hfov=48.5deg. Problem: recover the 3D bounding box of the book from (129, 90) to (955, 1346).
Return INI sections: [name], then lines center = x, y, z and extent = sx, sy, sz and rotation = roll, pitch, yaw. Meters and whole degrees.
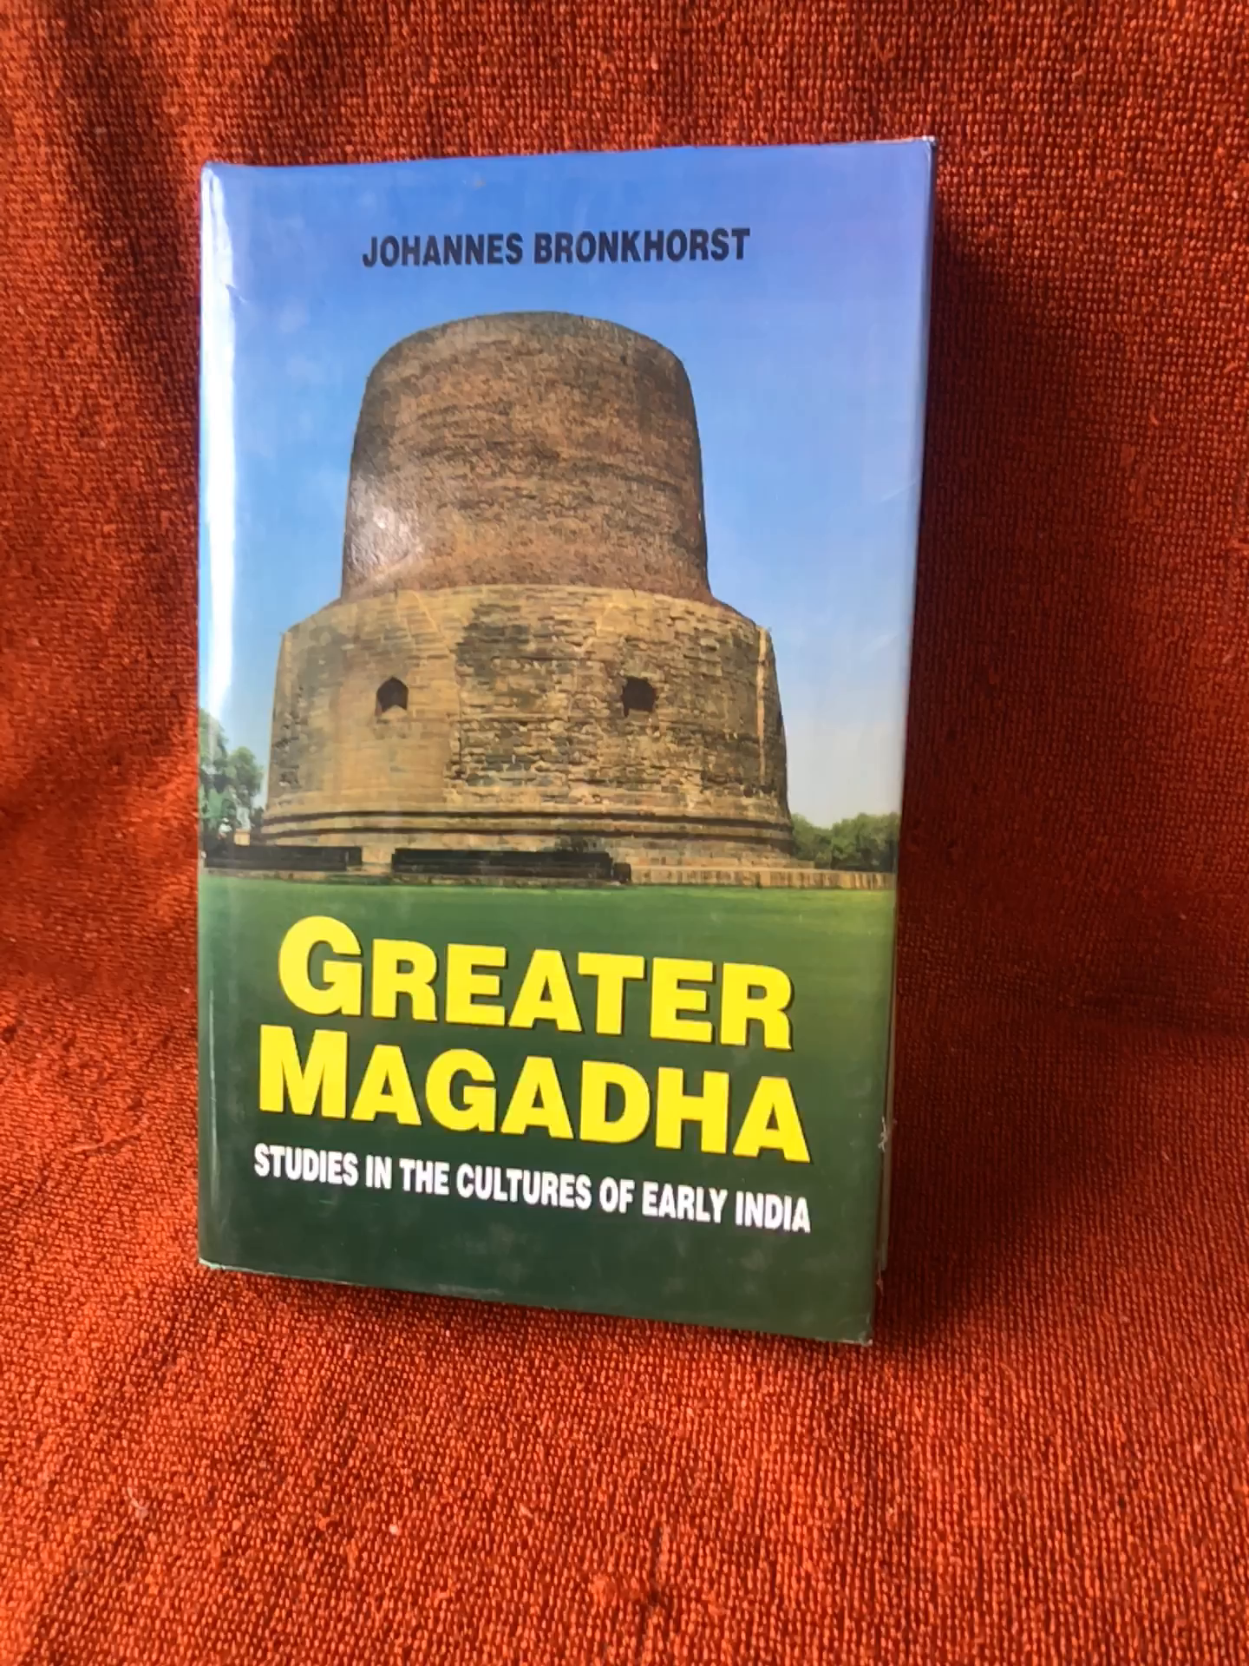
[book]
center = -0.020, -0.021, 0.271
extent = 0.150, 0.220, 0.030
rotation = 4, 7, 11
